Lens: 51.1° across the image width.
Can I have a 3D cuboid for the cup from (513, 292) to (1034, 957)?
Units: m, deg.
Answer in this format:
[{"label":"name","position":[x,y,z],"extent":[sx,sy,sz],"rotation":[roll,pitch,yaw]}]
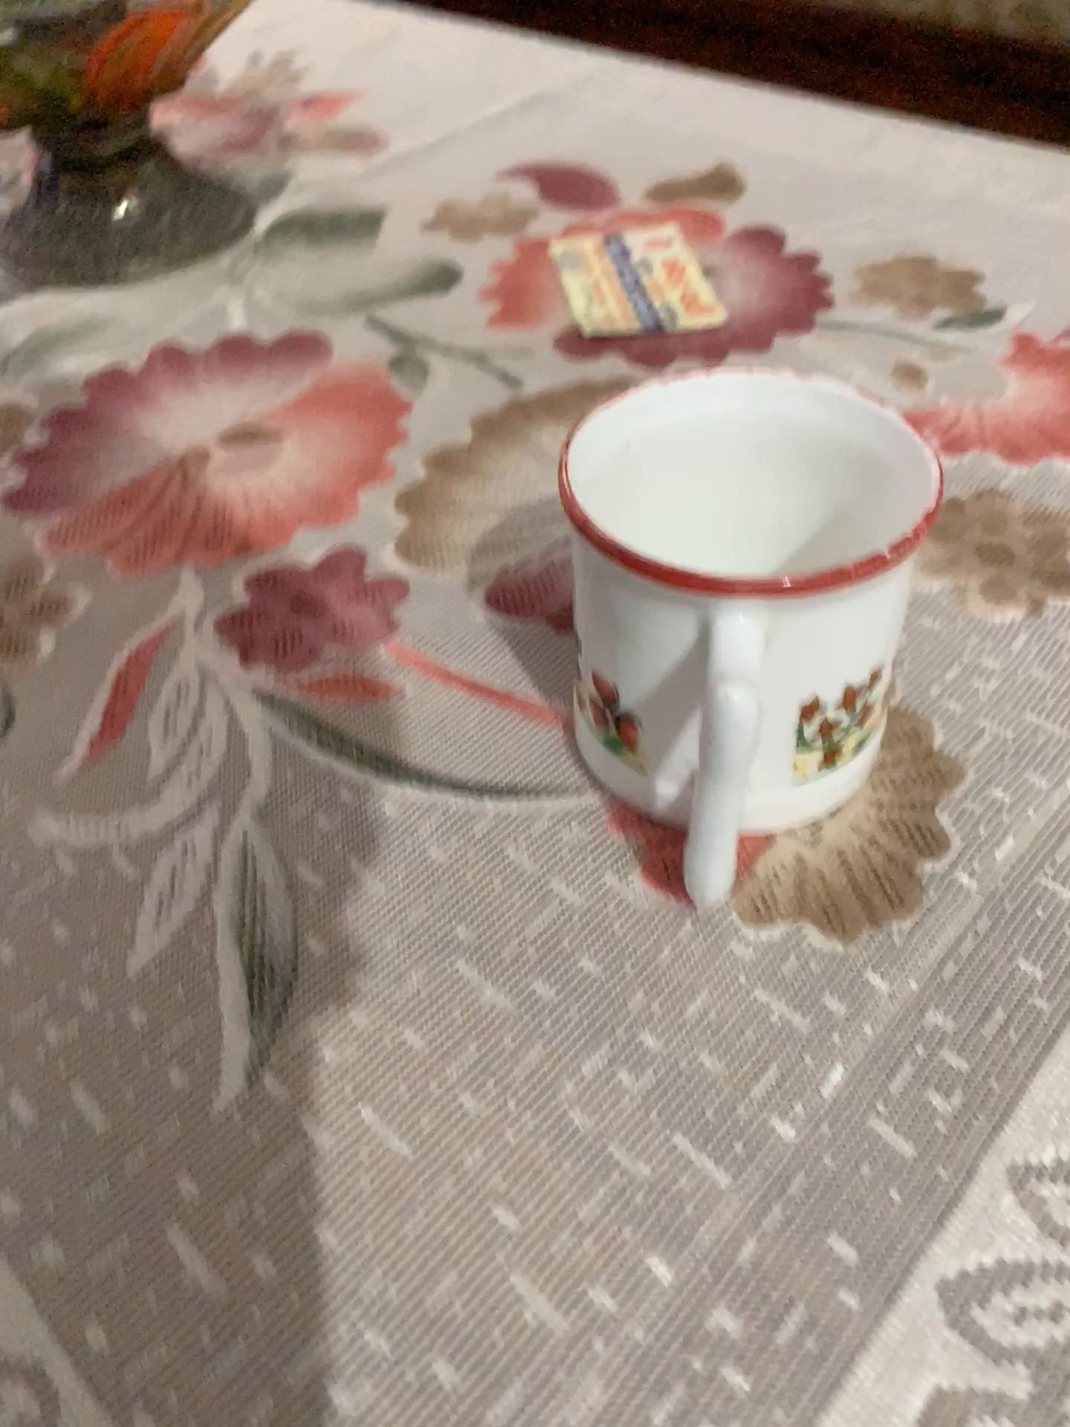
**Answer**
[{"label":"cup","position":[0.039,-0.019,0.217],"extent":[0.070,0.080,0.100],"rotation":[1,45,6]}]
